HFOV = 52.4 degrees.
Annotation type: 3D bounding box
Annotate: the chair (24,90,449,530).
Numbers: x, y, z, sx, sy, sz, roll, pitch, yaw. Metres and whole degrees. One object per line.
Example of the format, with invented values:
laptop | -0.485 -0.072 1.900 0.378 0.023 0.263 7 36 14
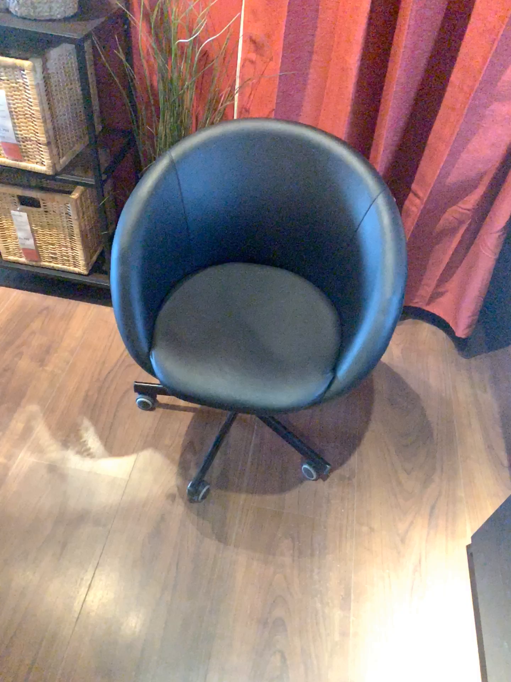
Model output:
chair | -0.024 -0.061 1.312 0.670 0.757 0.672 9 47 1
